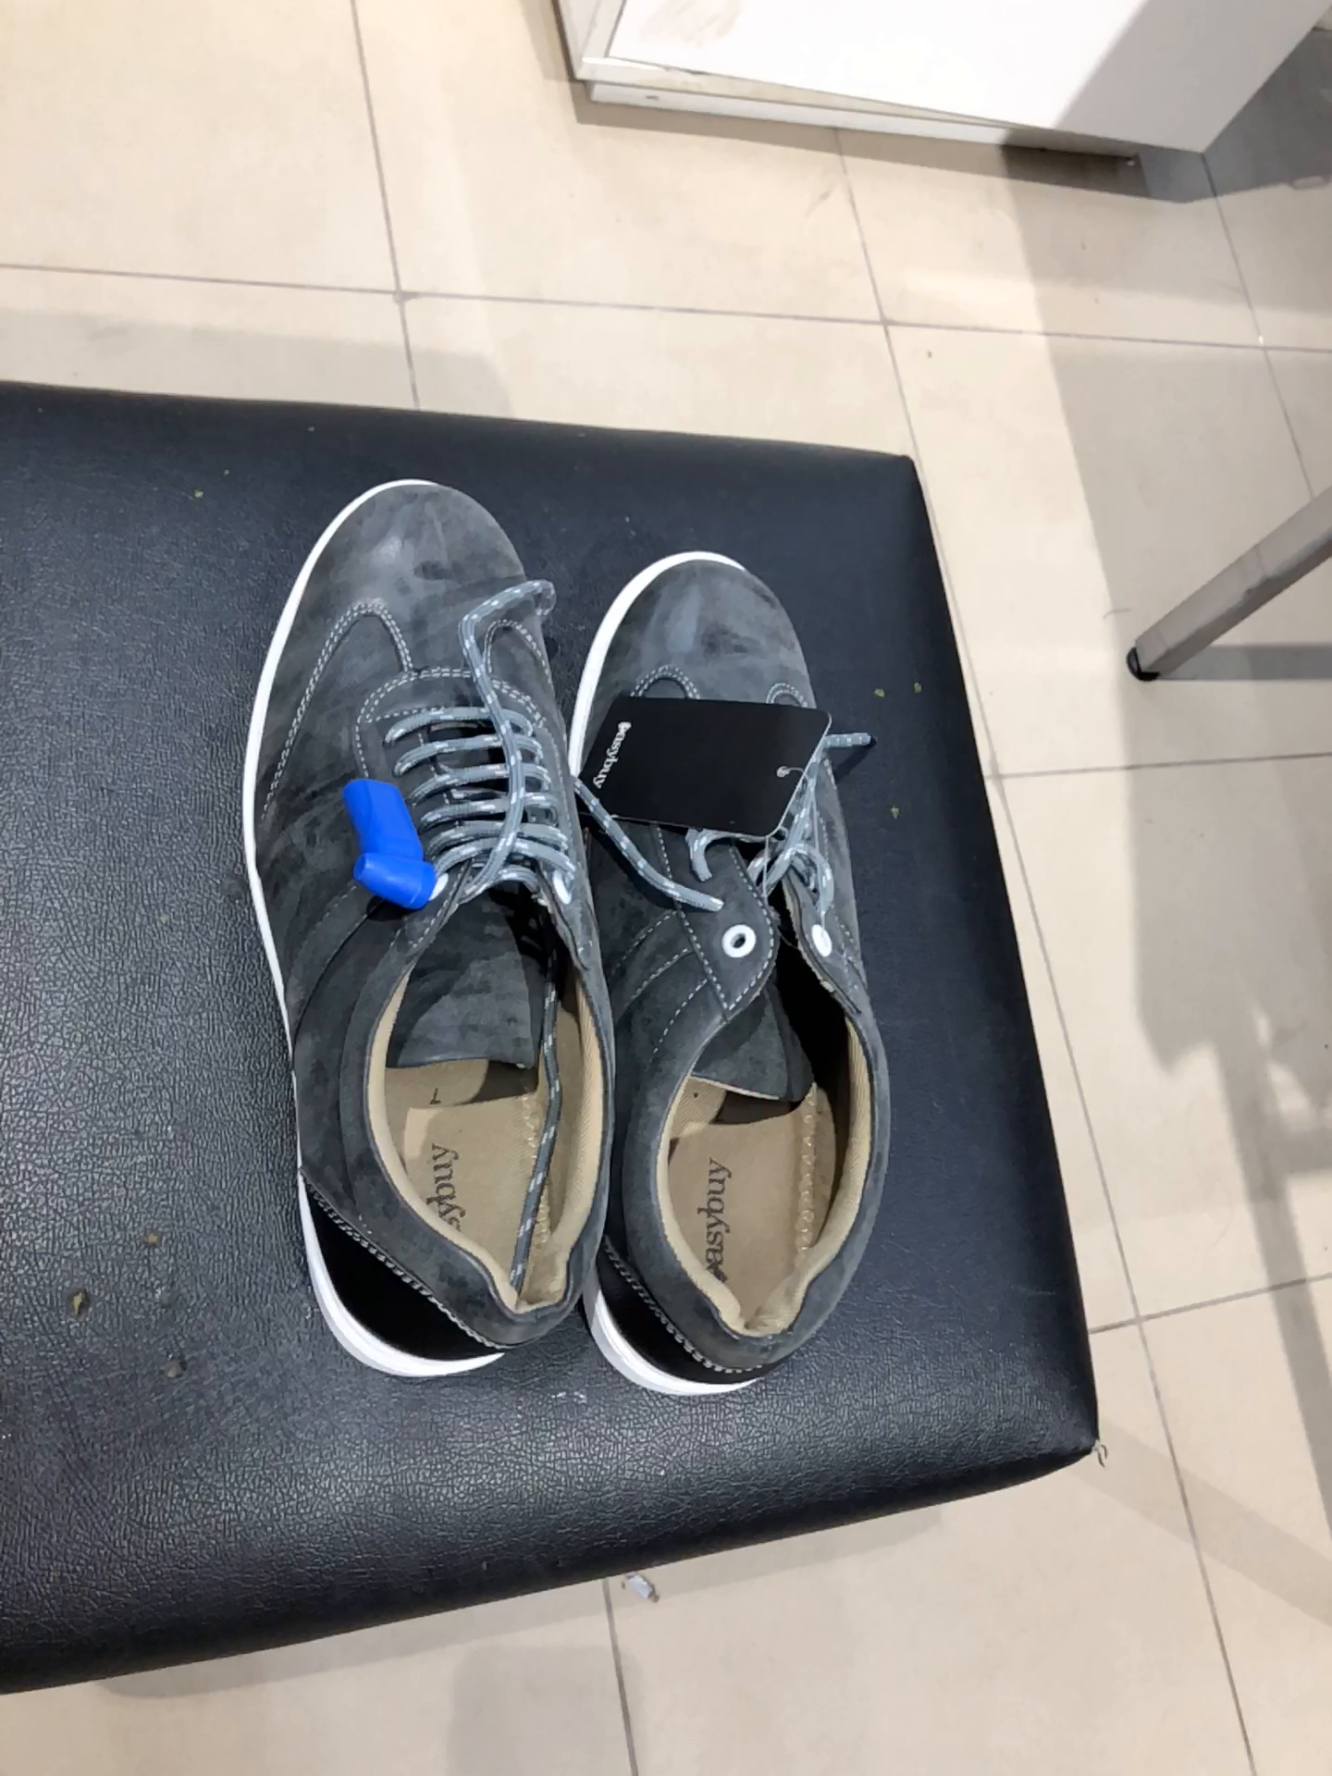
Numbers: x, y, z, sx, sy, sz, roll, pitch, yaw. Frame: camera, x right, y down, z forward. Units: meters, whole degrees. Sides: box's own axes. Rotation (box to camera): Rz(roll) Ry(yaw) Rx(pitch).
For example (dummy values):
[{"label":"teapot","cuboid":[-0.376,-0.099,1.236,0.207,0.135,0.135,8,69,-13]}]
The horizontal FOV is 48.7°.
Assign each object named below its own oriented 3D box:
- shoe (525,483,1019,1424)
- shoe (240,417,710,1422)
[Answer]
[{"label":"shoe","cuboid":[0.027,0.025,0.440,0.101,0.107,0.249,8,70,-17]},{"label":"shoe","cuboid":[-0.065,0.012,0.415,0.101,0.107,0.249,1,72,-19]}]
